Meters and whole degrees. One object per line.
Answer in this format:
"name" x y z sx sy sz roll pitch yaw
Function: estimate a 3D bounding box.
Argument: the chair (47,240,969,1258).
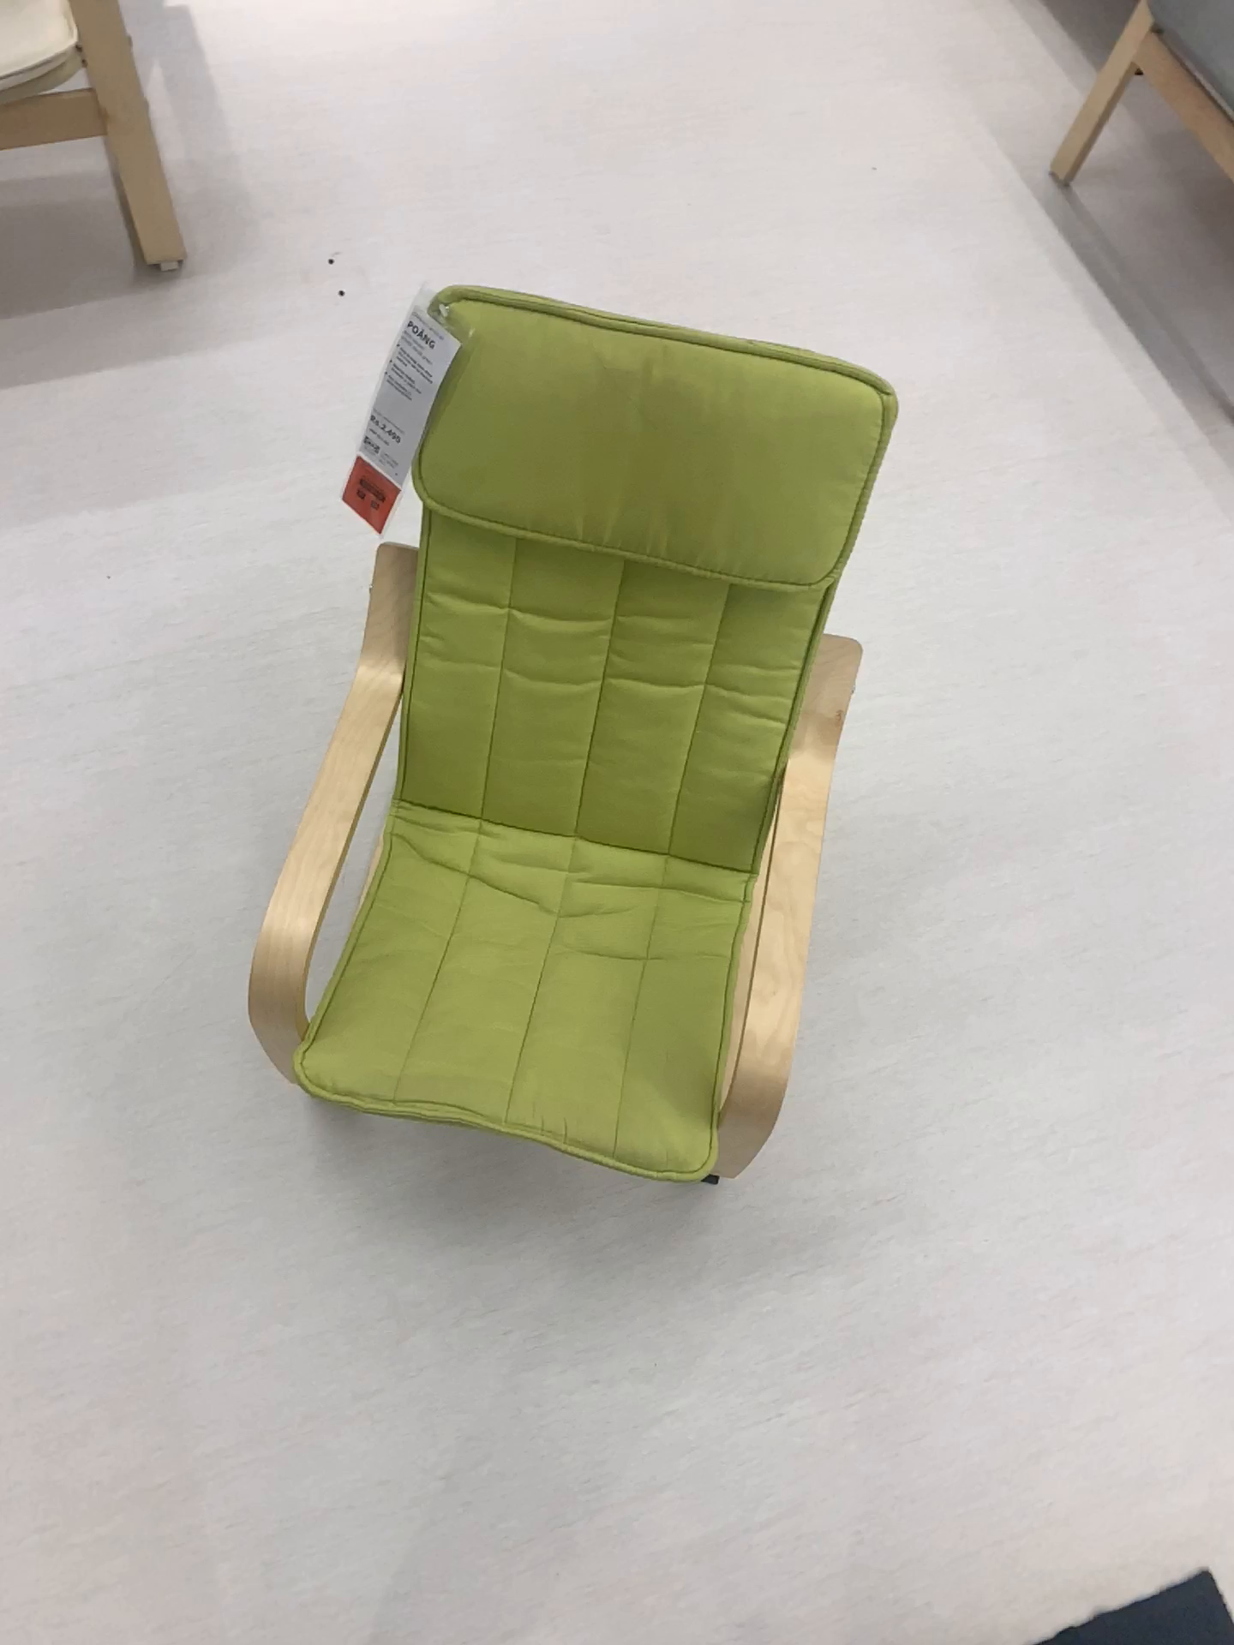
"chair" -0.059 0.022 1.222 0.520 0.819 0.571 11 63 1
